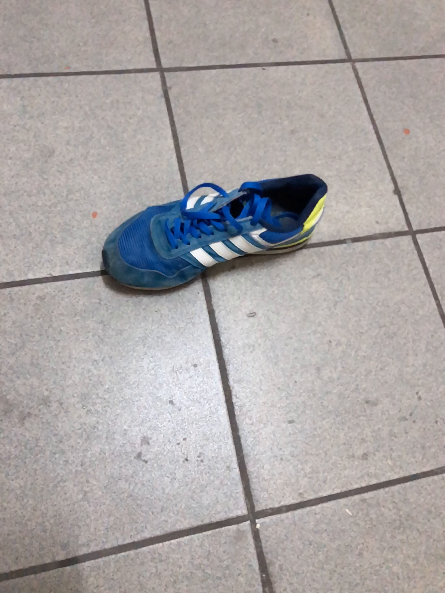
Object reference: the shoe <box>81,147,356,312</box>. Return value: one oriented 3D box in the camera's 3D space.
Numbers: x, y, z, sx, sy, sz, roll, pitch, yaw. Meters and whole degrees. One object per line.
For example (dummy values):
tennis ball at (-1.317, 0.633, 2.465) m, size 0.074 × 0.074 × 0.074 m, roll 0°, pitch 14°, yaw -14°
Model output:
shoe at (-0.007, -0.082, 0.593) m, size 0.292 × 0.100 × 0.110 m, roll -14°, pitch 73°, yaw -14°
